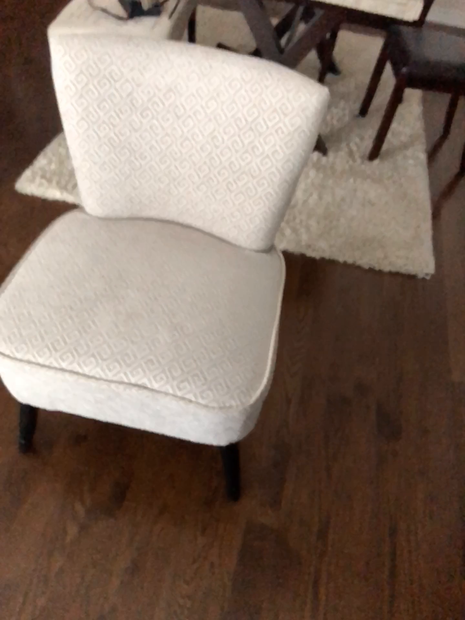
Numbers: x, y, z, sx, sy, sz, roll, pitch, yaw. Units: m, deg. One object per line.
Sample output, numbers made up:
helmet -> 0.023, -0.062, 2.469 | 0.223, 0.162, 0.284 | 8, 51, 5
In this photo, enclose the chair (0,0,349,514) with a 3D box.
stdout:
chair -> -0.163, -0.091, 1.143 | 0.600, 0.797, 0.642 | 13, 47, 4
